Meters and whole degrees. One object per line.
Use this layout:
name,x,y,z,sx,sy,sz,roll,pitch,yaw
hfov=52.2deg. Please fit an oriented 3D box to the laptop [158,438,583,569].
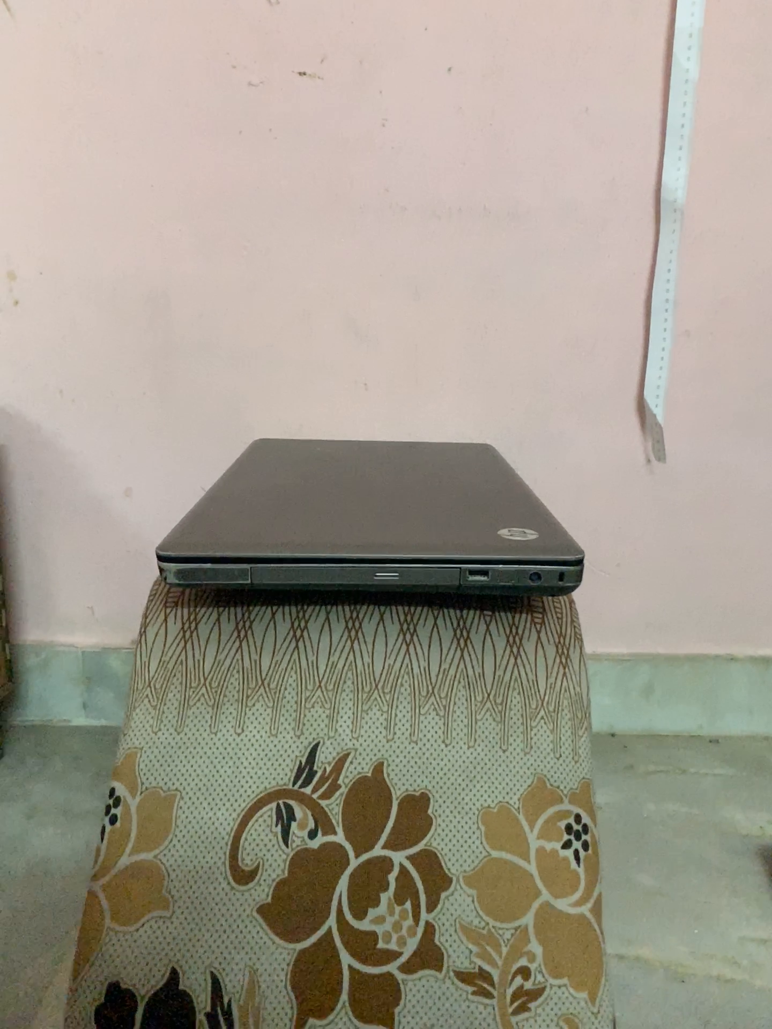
laptop,-0.010,-0.024,0.645,0.249,0.002,0.381,1,16,-1
